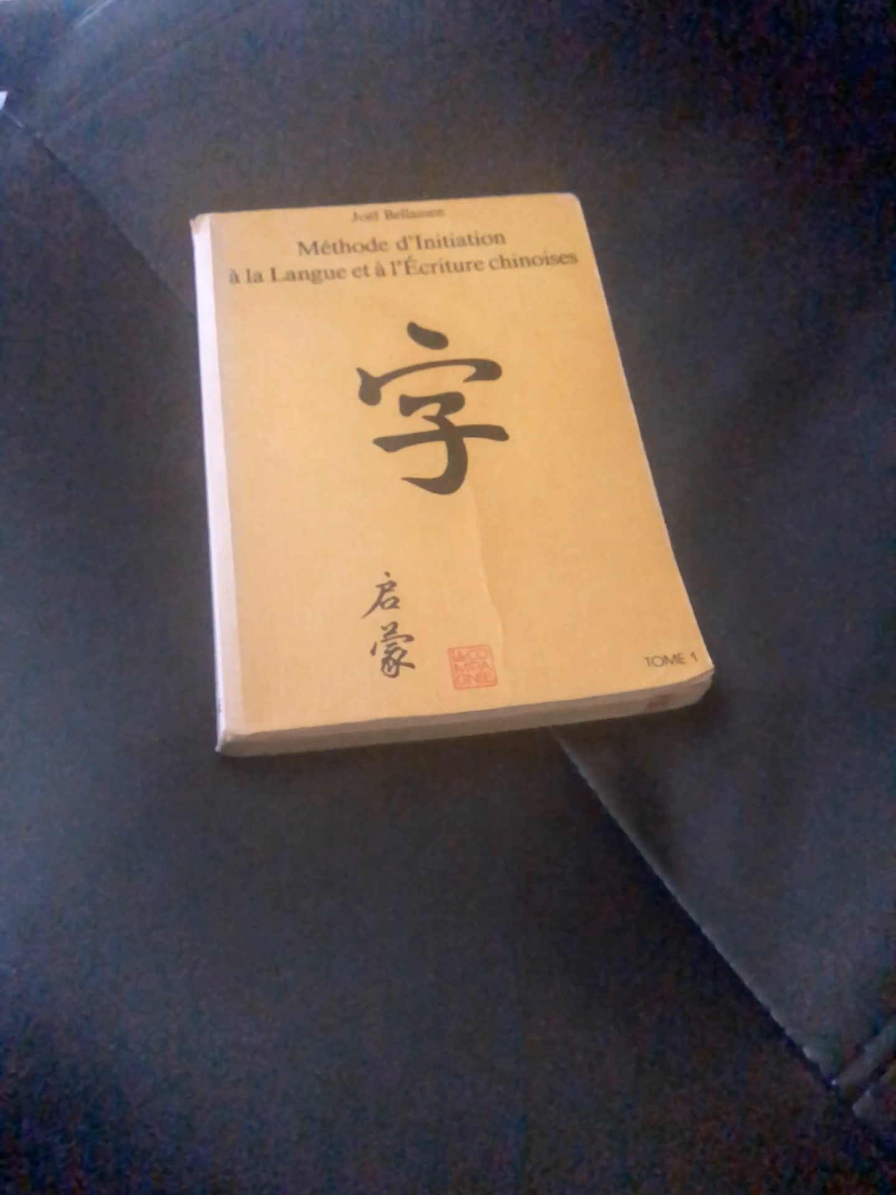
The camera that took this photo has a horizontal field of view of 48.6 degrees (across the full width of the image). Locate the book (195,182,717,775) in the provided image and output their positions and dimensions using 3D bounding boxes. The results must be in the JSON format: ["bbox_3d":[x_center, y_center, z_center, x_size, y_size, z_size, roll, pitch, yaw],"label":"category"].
[{"bbox_3d":[-0.010,-0.056,0.354,0.152,0.028,0.221,-6,61,-4],"label":"book"}]
